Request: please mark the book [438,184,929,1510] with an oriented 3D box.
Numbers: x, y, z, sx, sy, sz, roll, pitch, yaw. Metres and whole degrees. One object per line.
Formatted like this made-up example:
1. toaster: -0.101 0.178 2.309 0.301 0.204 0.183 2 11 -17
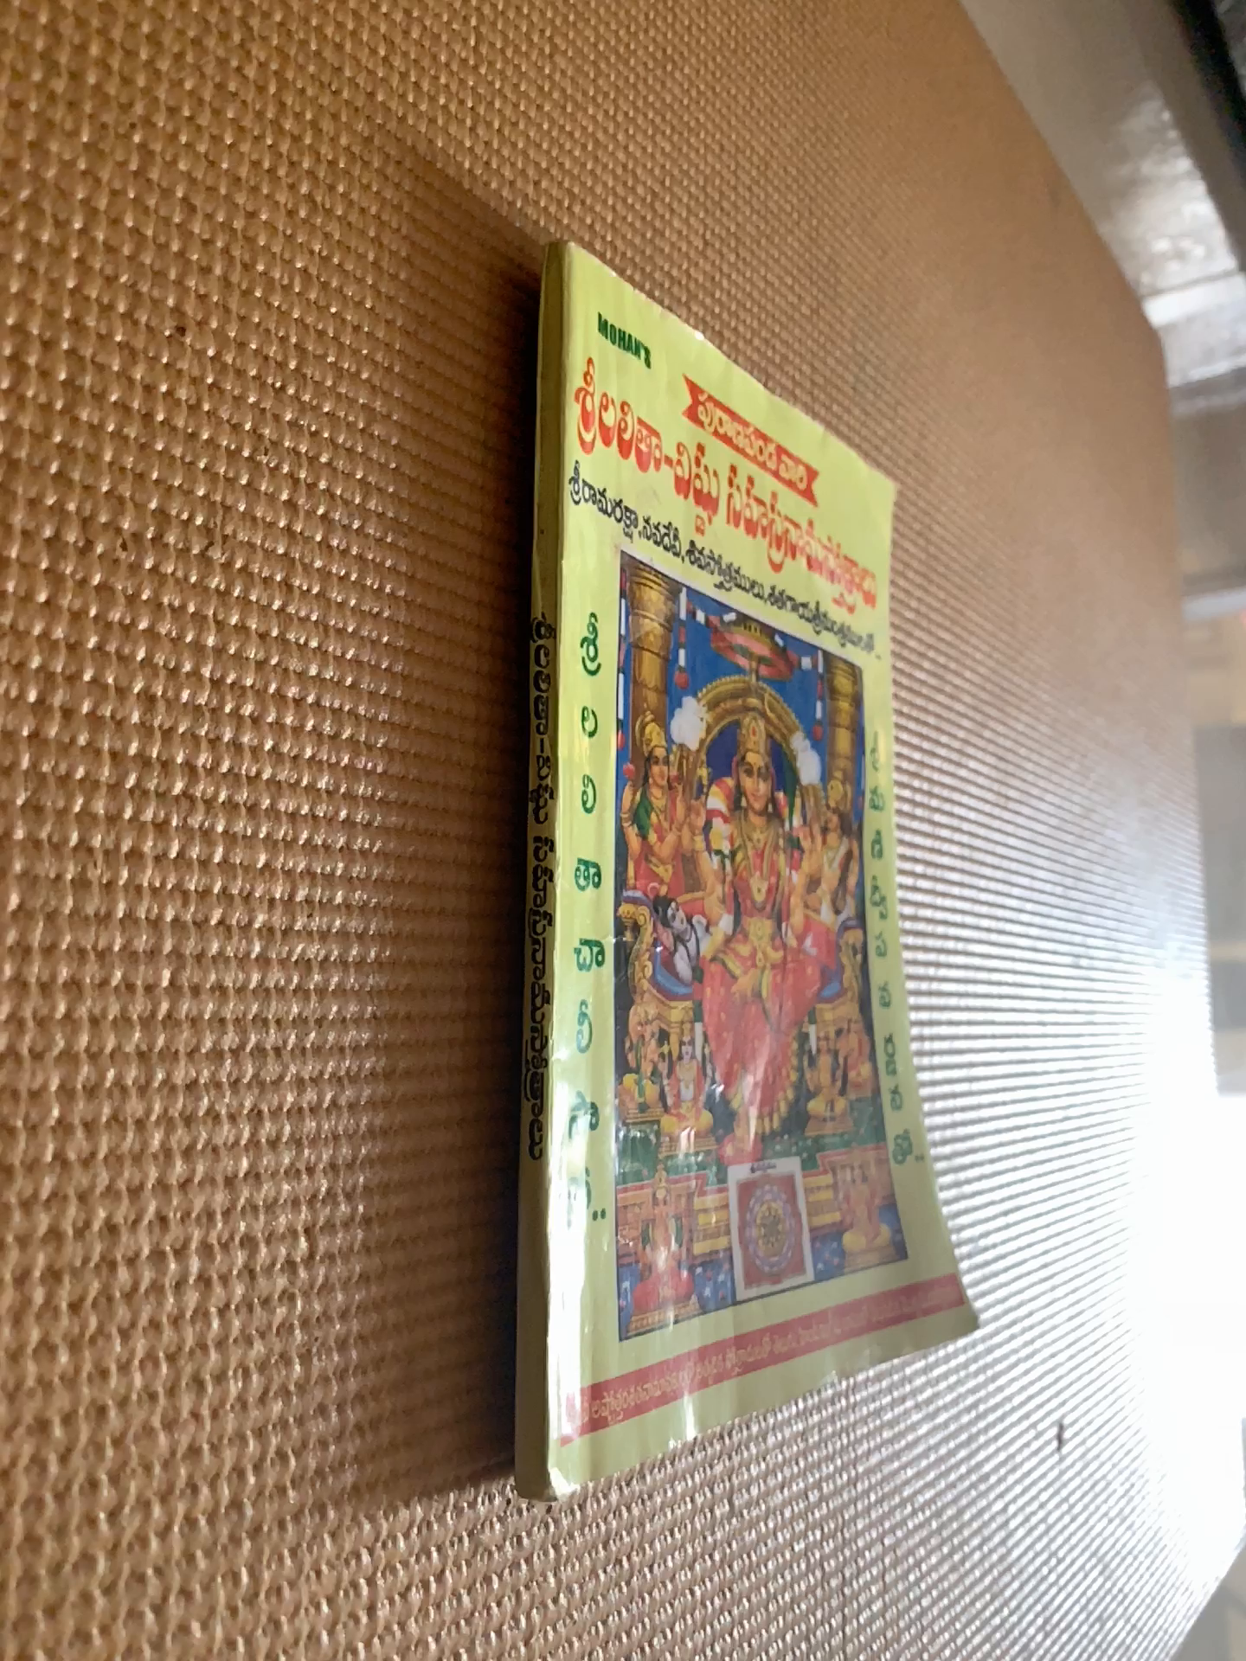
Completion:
1. book: 0.020 0.003 0.266 0.141 0.020 0.210 11 76 -53
